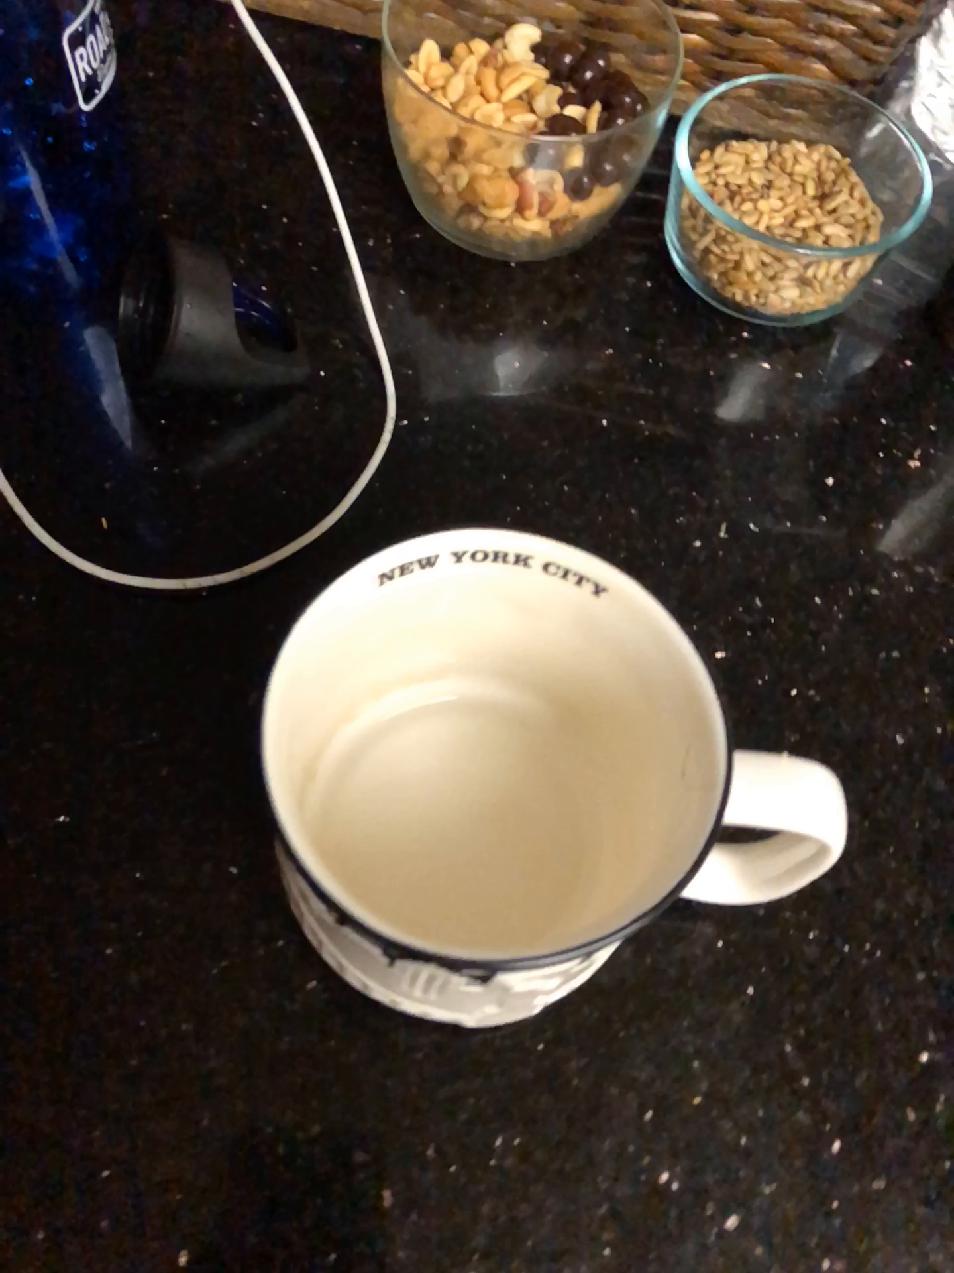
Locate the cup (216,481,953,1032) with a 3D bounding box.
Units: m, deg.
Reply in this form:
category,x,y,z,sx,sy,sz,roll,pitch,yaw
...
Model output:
category,x,y,z,sx,sy,sz,roll,pitch,yaw
cup,0.021,0.037,0.274,0.150,0.090,0.110,4,63,-4
